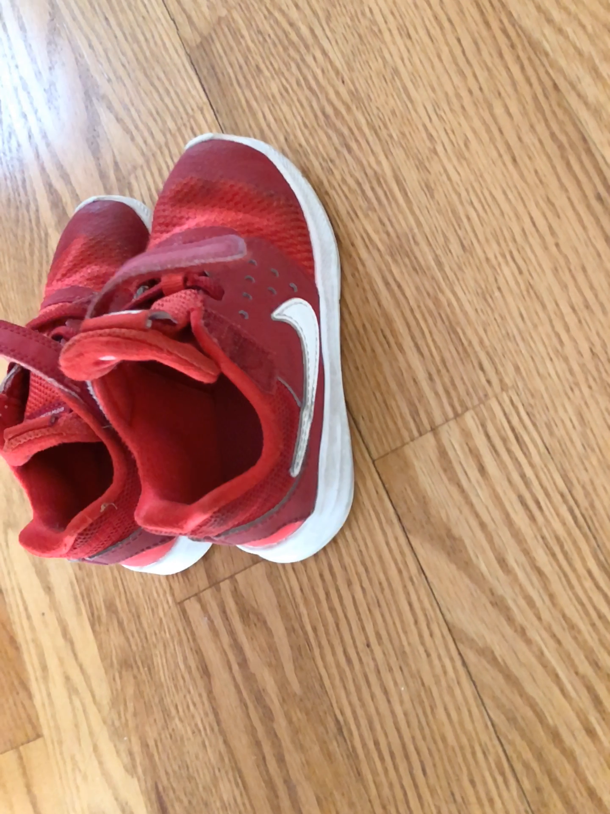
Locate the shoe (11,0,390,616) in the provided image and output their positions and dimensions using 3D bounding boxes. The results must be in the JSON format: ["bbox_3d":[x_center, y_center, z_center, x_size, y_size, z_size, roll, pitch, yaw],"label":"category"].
[{"bbox_3d":[-0.039,-0.026,0.240,0.089,0.069,0.177,-13,81,30],"label":"shoe"}]

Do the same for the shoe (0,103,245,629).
[{"bbox_3d":[-0.094,-0.012,0.275,0.081,0.069,0.175,-19,78,29],"label":"shoe"}]
